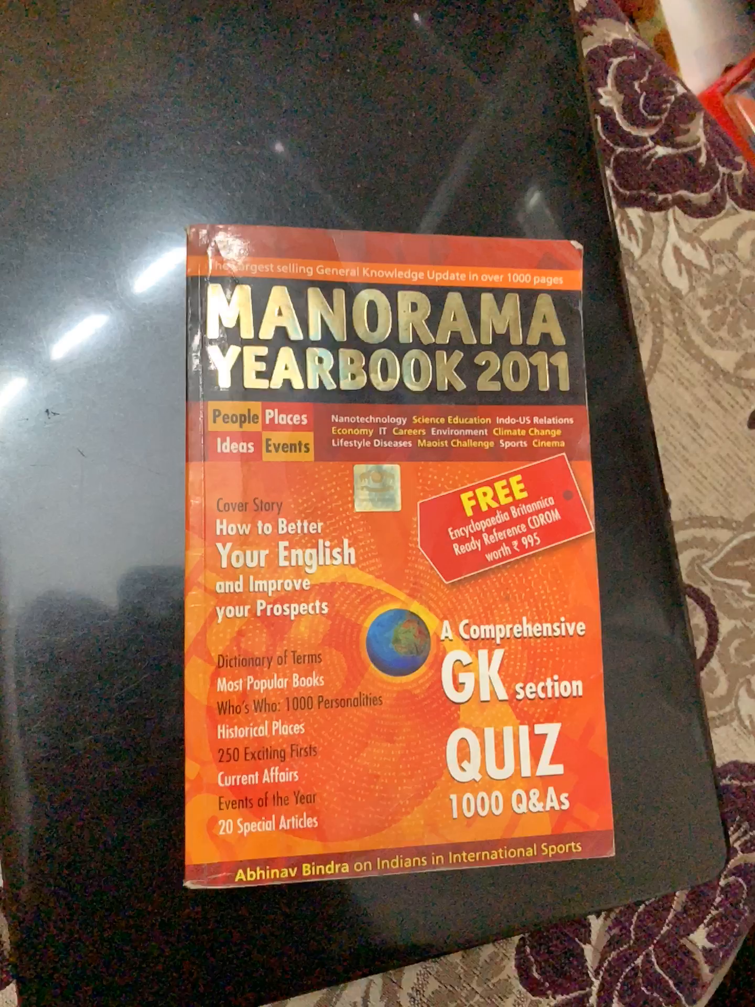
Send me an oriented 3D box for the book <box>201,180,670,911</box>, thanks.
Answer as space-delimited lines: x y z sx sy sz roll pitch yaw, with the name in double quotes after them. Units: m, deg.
0.013 0.009 0.264 0.140 0.050 0.210 0 82 -12 "book"
